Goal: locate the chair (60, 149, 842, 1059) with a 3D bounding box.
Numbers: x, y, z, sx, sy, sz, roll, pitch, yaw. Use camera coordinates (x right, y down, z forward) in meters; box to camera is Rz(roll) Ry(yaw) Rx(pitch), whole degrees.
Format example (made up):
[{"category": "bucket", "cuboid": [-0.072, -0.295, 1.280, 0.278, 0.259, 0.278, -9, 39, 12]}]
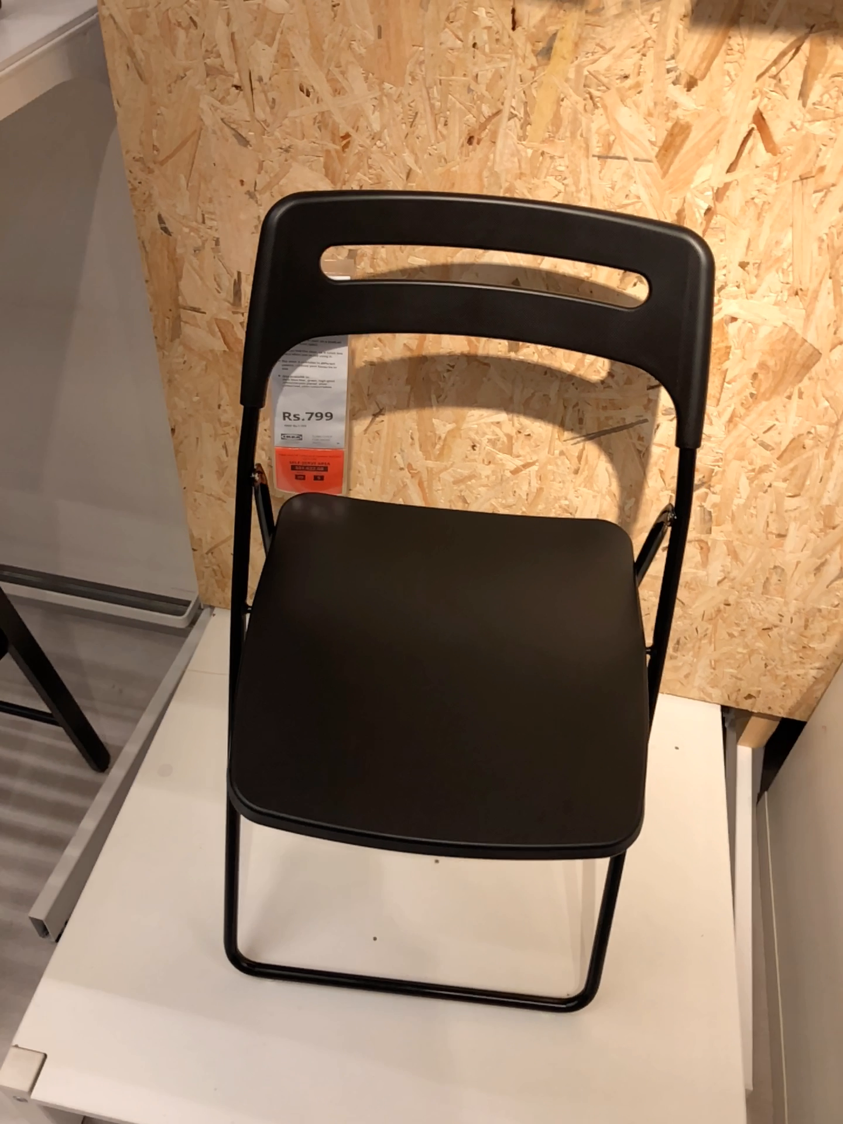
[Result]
[{"category": "chair", "cuboid": [0.052, 0.073, 0.954, 0.490, 0.735, 0.523, 7, 45, 3]}]
